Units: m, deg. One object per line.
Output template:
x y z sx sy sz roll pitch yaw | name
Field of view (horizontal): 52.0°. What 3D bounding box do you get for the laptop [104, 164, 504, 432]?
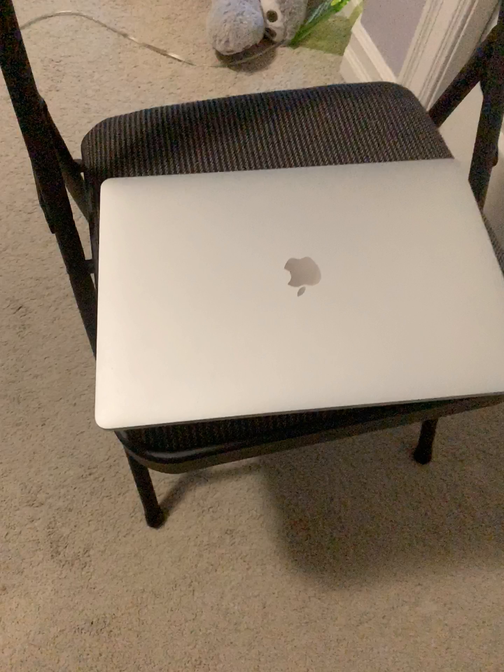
0.044 -0.046 0.435 0.332 0.001 0.224 -5 67 -4 | laptop
